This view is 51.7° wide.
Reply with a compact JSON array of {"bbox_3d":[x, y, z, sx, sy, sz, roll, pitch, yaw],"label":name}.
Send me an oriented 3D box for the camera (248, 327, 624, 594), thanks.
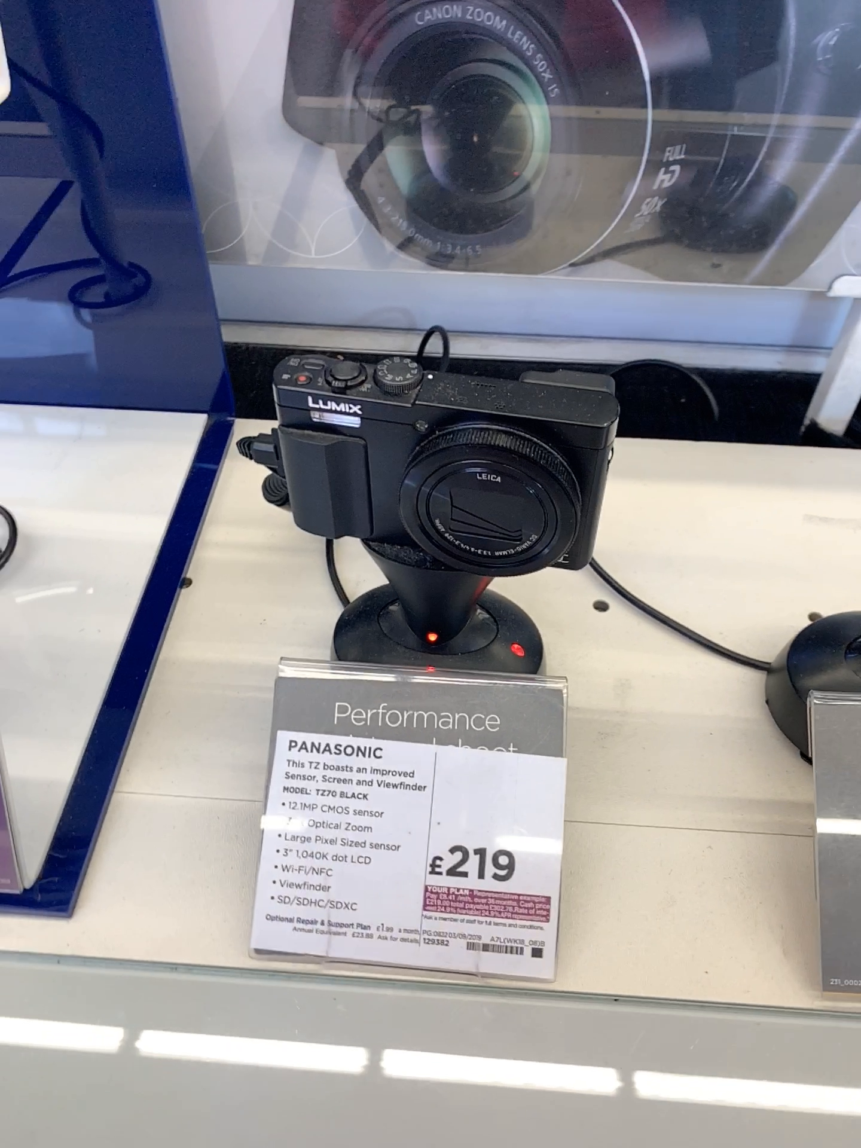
[{"bbox_3d":[0.002,-0.036,0.294,0.110,0.069,0.030,9,48,7],"label":"camera"}]
